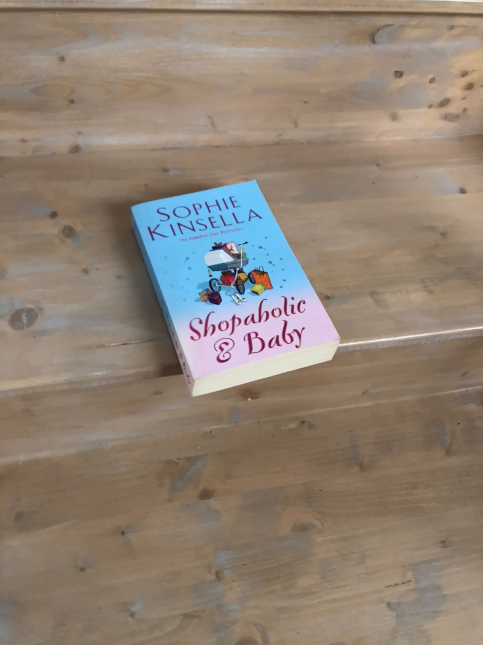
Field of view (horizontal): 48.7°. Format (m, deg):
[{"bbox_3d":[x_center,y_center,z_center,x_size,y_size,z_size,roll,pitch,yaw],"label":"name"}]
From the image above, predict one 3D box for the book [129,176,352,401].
[{"bbox_3d":[-0.010,-0.044,0.484,0.131,0.031,0.211,-15,56,-16],"label":"book"}]
